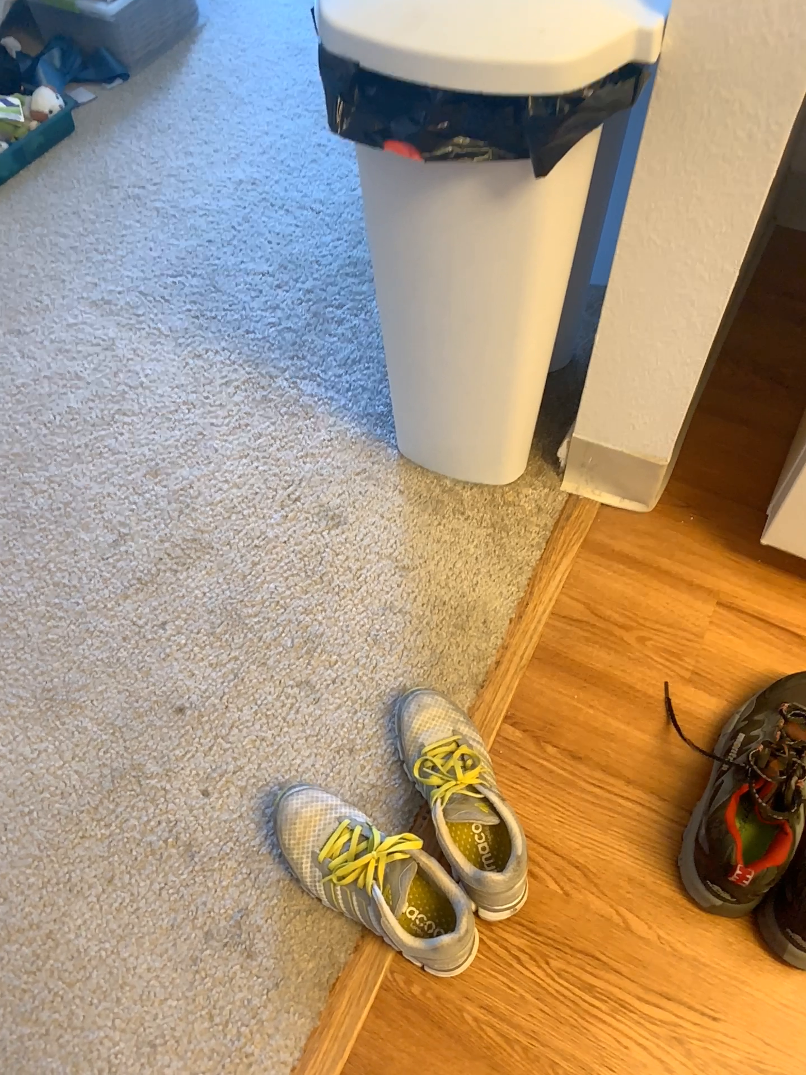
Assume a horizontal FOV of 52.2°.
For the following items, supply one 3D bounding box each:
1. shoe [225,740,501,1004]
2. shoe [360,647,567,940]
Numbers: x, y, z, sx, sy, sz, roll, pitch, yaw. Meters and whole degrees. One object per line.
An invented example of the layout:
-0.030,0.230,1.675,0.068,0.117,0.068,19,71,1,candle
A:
-0.039,0.319,0.789,0.251,0.130,0.080,31,62,20,shoe
0.057,0.255,0.839,0.090,0.090,0.261,-26,59,-7,shoe
